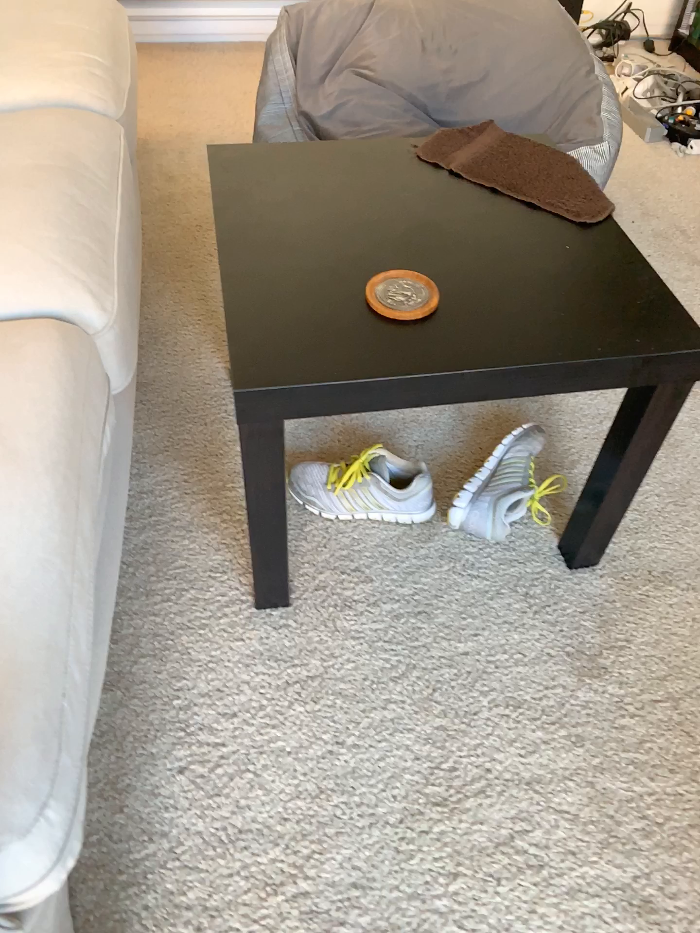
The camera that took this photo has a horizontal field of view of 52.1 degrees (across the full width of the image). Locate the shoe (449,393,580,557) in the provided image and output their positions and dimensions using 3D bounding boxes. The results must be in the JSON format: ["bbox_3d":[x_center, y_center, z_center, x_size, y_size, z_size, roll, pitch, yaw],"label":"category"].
[{"bbox_3d":[0.259,0.006,1.118,0.100,0.090,0.251,23,51,23],"label":"shoe"}]

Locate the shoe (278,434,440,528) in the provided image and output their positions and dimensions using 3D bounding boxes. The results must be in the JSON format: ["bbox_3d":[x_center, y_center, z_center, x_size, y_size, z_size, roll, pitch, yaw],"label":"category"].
[{"bbox_3d":[0.014,0.024,1.174,0.250,0.100,0.090,5,48,1],"label":"shoe"}]
